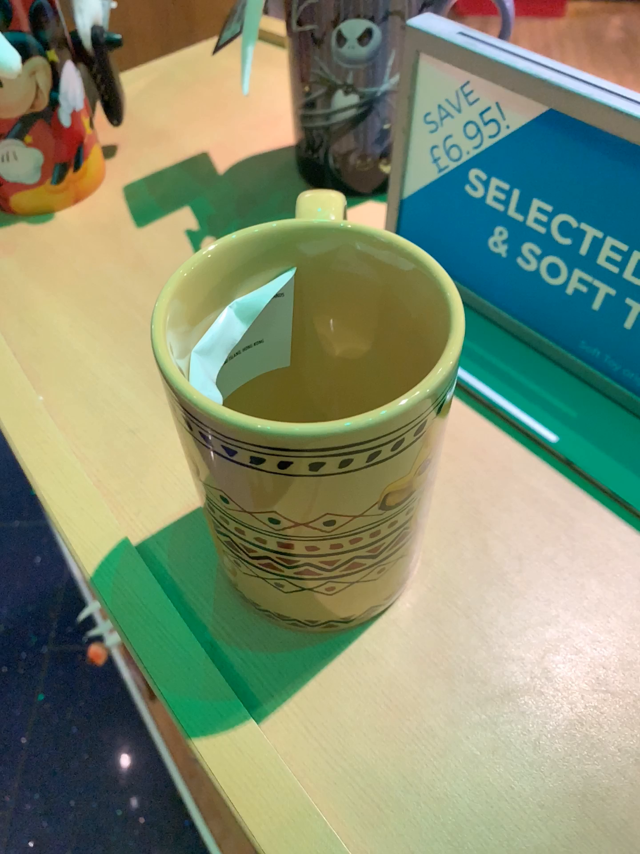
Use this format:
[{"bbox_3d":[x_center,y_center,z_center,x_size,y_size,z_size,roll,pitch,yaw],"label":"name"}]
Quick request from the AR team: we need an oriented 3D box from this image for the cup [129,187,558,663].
[{"bbox_3d":[0.002,0.003,0.239,0.100,0.121,0.120,0,51,-3],"label":"cup"}]
